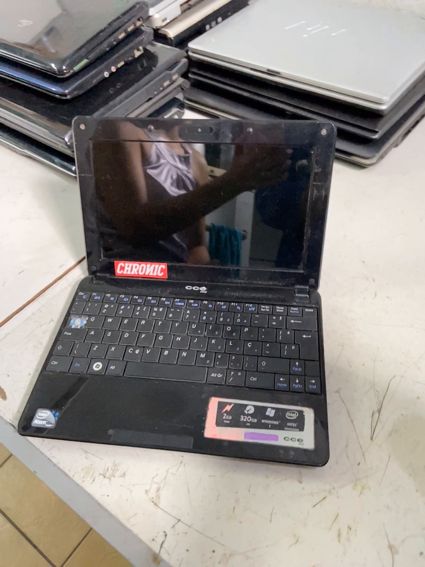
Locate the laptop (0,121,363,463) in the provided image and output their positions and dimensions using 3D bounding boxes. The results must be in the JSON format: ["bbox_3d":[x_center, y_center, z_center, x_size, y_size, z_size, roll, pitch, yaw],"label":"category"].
[{"bbox_3d":[-0.023,-0.011,0.385,0.253,0.137,0.259,3,50,8],"label":"laptop"}]
